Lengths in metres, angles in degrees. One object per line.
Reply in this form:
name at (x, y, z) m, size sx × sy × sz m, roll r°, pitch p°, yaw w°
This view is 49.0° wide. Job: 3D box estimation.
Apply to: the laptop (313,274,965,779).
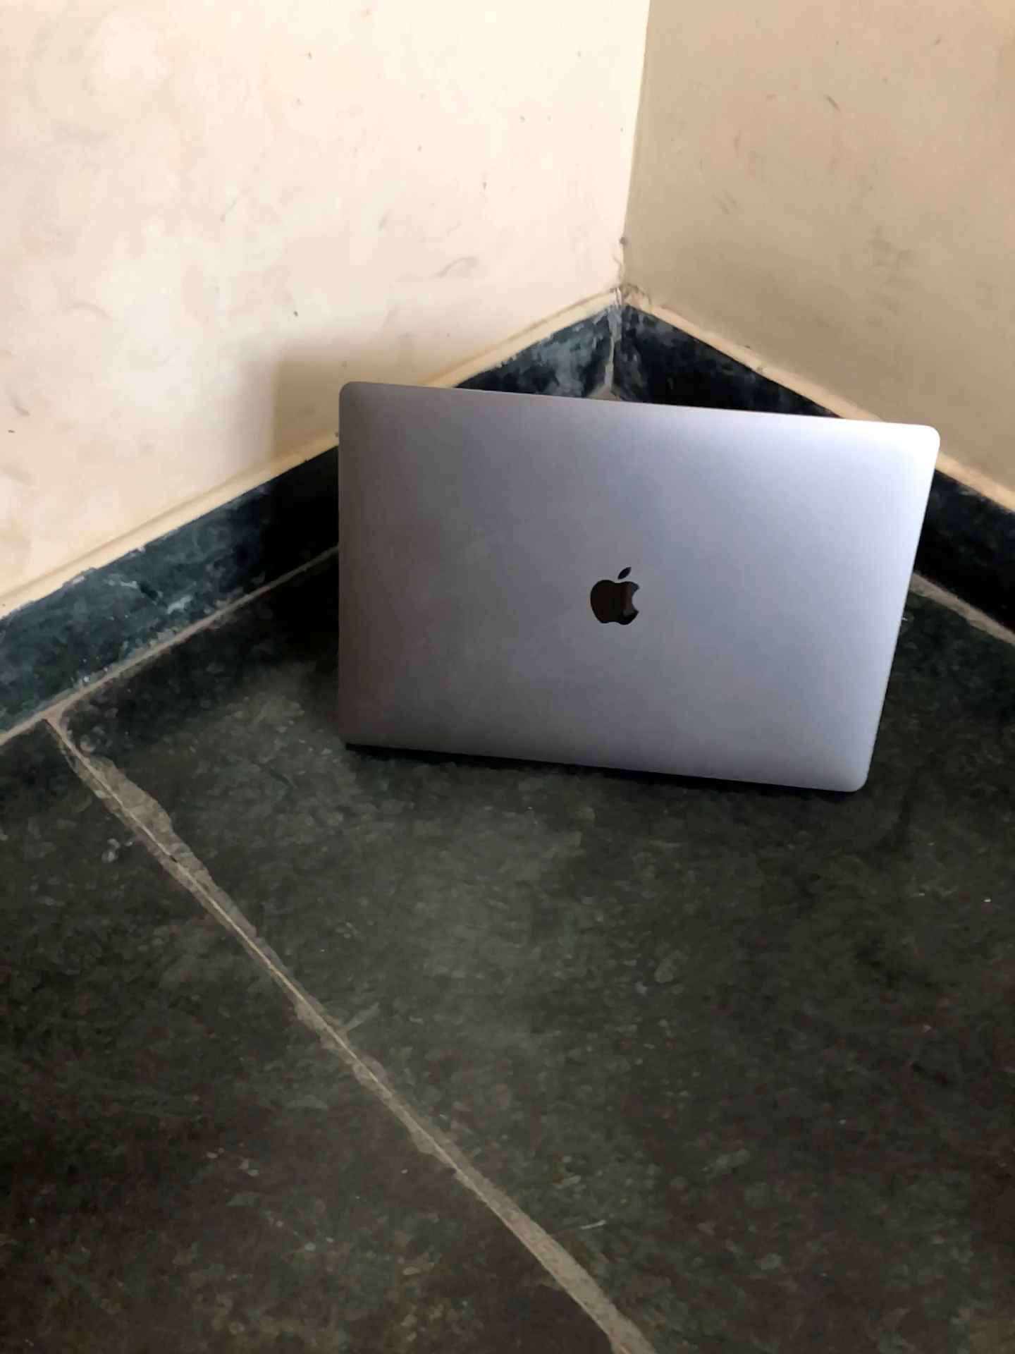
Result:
laptop at (0.072, -0.099, 0.710) m, size 0.329 × 0.198 × 0.222 m, roll 5°, pitch 49°, yaw 5°
